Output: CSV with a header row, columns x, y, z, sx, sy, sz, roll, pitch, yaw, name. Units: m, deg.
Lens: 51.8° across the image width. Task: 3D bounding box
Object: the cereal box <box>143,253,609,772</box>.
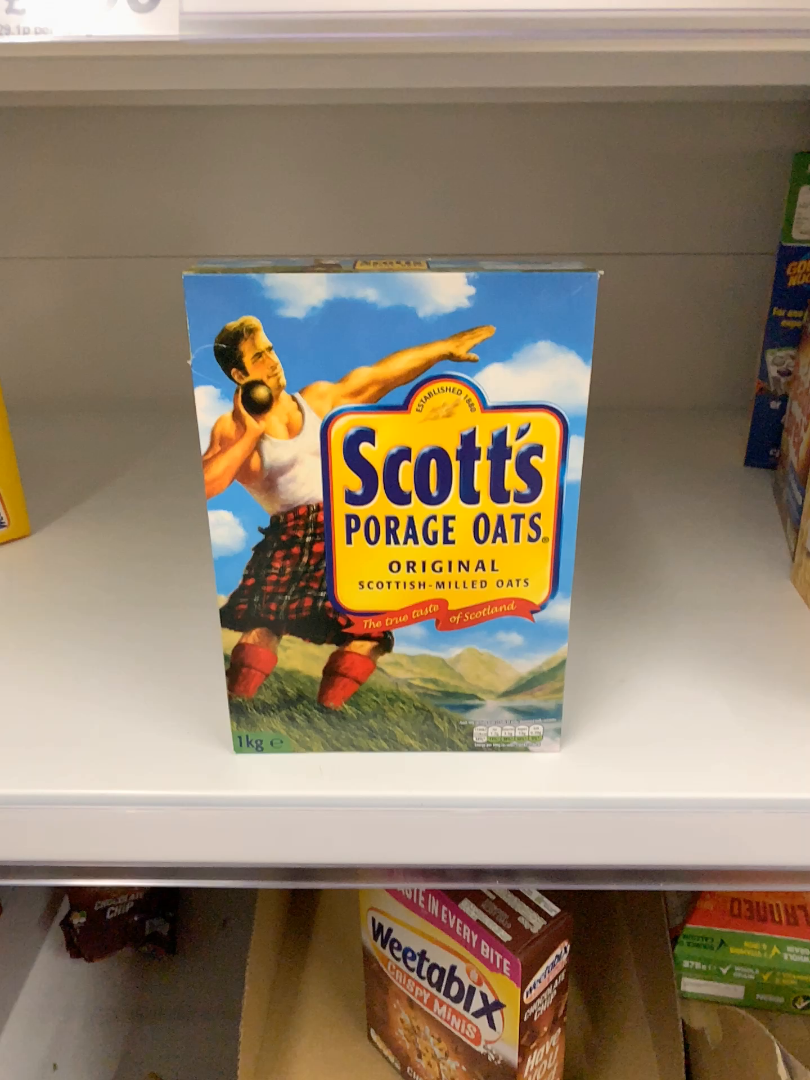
x,y,z,sx,sy,sz,roll,pitch,yaw,name
-0.012,-0.008,0.445,0.200,0.268,0.071,-1,24,0,cereal box
